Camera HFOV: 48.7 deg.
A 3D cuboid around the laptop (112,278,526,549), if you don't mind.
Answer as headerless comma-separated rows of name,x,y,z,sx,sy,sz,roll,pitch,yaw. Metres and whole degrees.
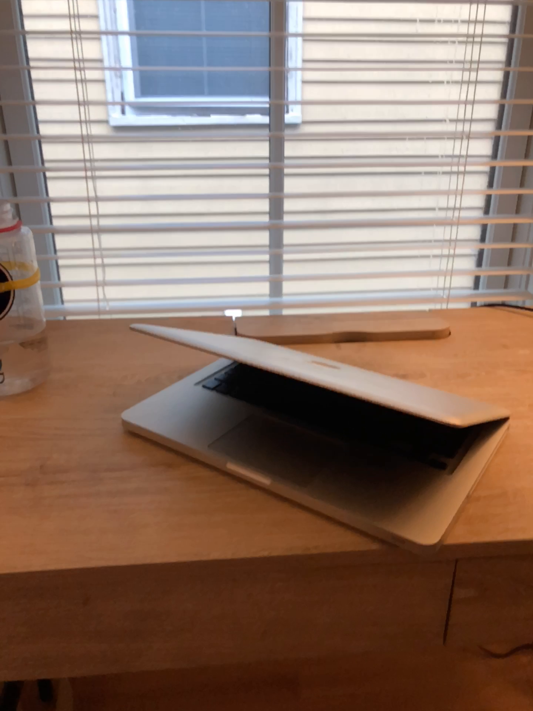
laptop,0.050,0.021,0.569,0.318,0.089,0.229,16,28,32
